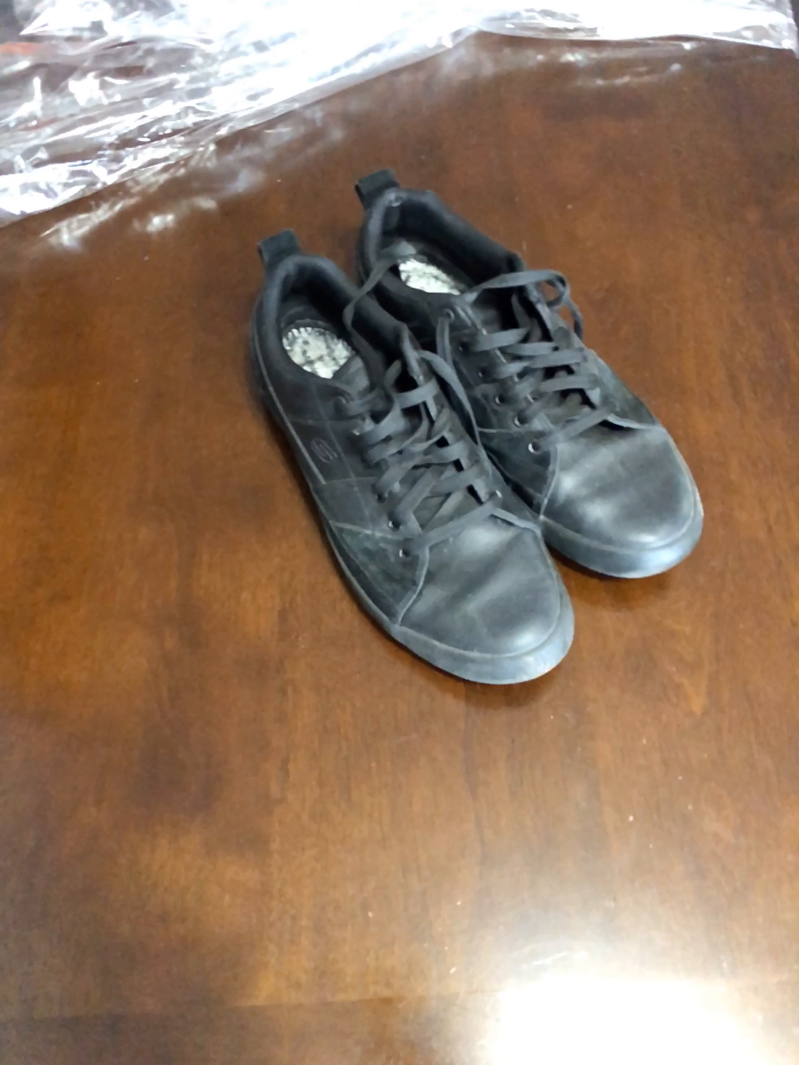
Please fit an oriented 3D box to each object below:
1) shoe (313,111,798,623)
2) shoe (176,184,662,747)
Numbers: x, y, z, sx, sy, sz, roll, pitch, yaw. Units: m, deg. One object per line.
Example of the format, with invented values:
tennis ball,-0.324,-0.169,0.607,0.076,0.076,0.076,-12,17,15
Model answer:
shoe,0.081,-0.108,0.539,0.110,0.110,0.300,-33,67,-15
shoe,-0.002,-0.046,0.507,0.110,0.110,0.300,-29,66,-13
